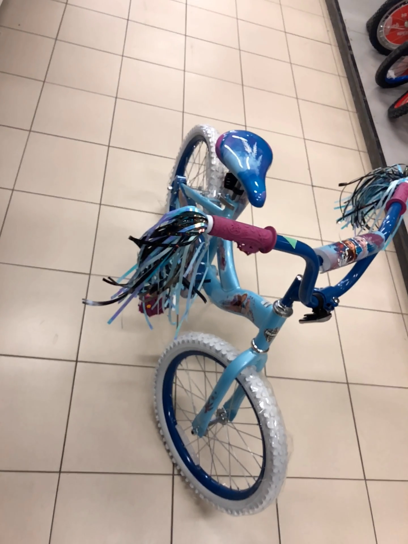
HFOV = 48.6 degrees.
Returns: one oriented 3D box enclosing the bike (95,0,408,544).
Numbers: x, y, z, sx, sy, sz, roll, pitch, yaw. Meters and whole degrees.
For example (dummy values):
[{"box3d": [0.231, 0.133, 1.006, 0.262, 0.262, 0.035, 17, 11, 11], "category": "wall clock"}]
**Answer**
[{"box3d": [0.122, -0.058, 1.135, 0.641, 0.954, 1.178, 0, 57, -18], "category": "bike"}]
